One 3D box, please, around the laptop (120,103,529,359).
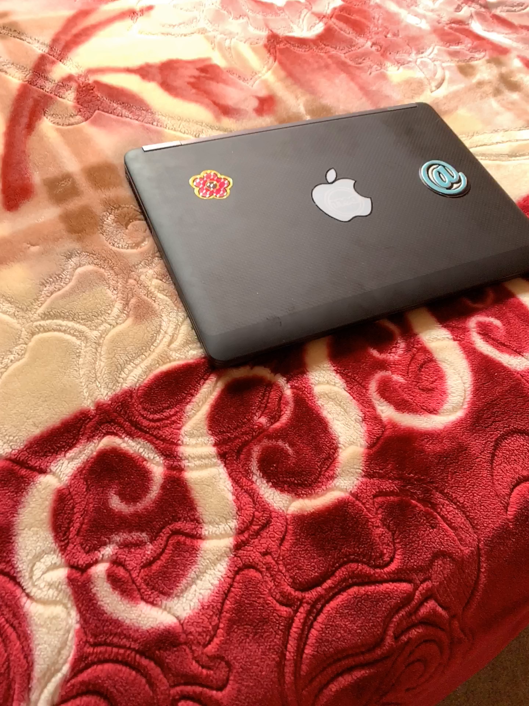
[{"bbox_3d":[0.062,-0.120,0.441,0.300,0.001,0.209,-17,62,-18],"label":"laptop"}]
